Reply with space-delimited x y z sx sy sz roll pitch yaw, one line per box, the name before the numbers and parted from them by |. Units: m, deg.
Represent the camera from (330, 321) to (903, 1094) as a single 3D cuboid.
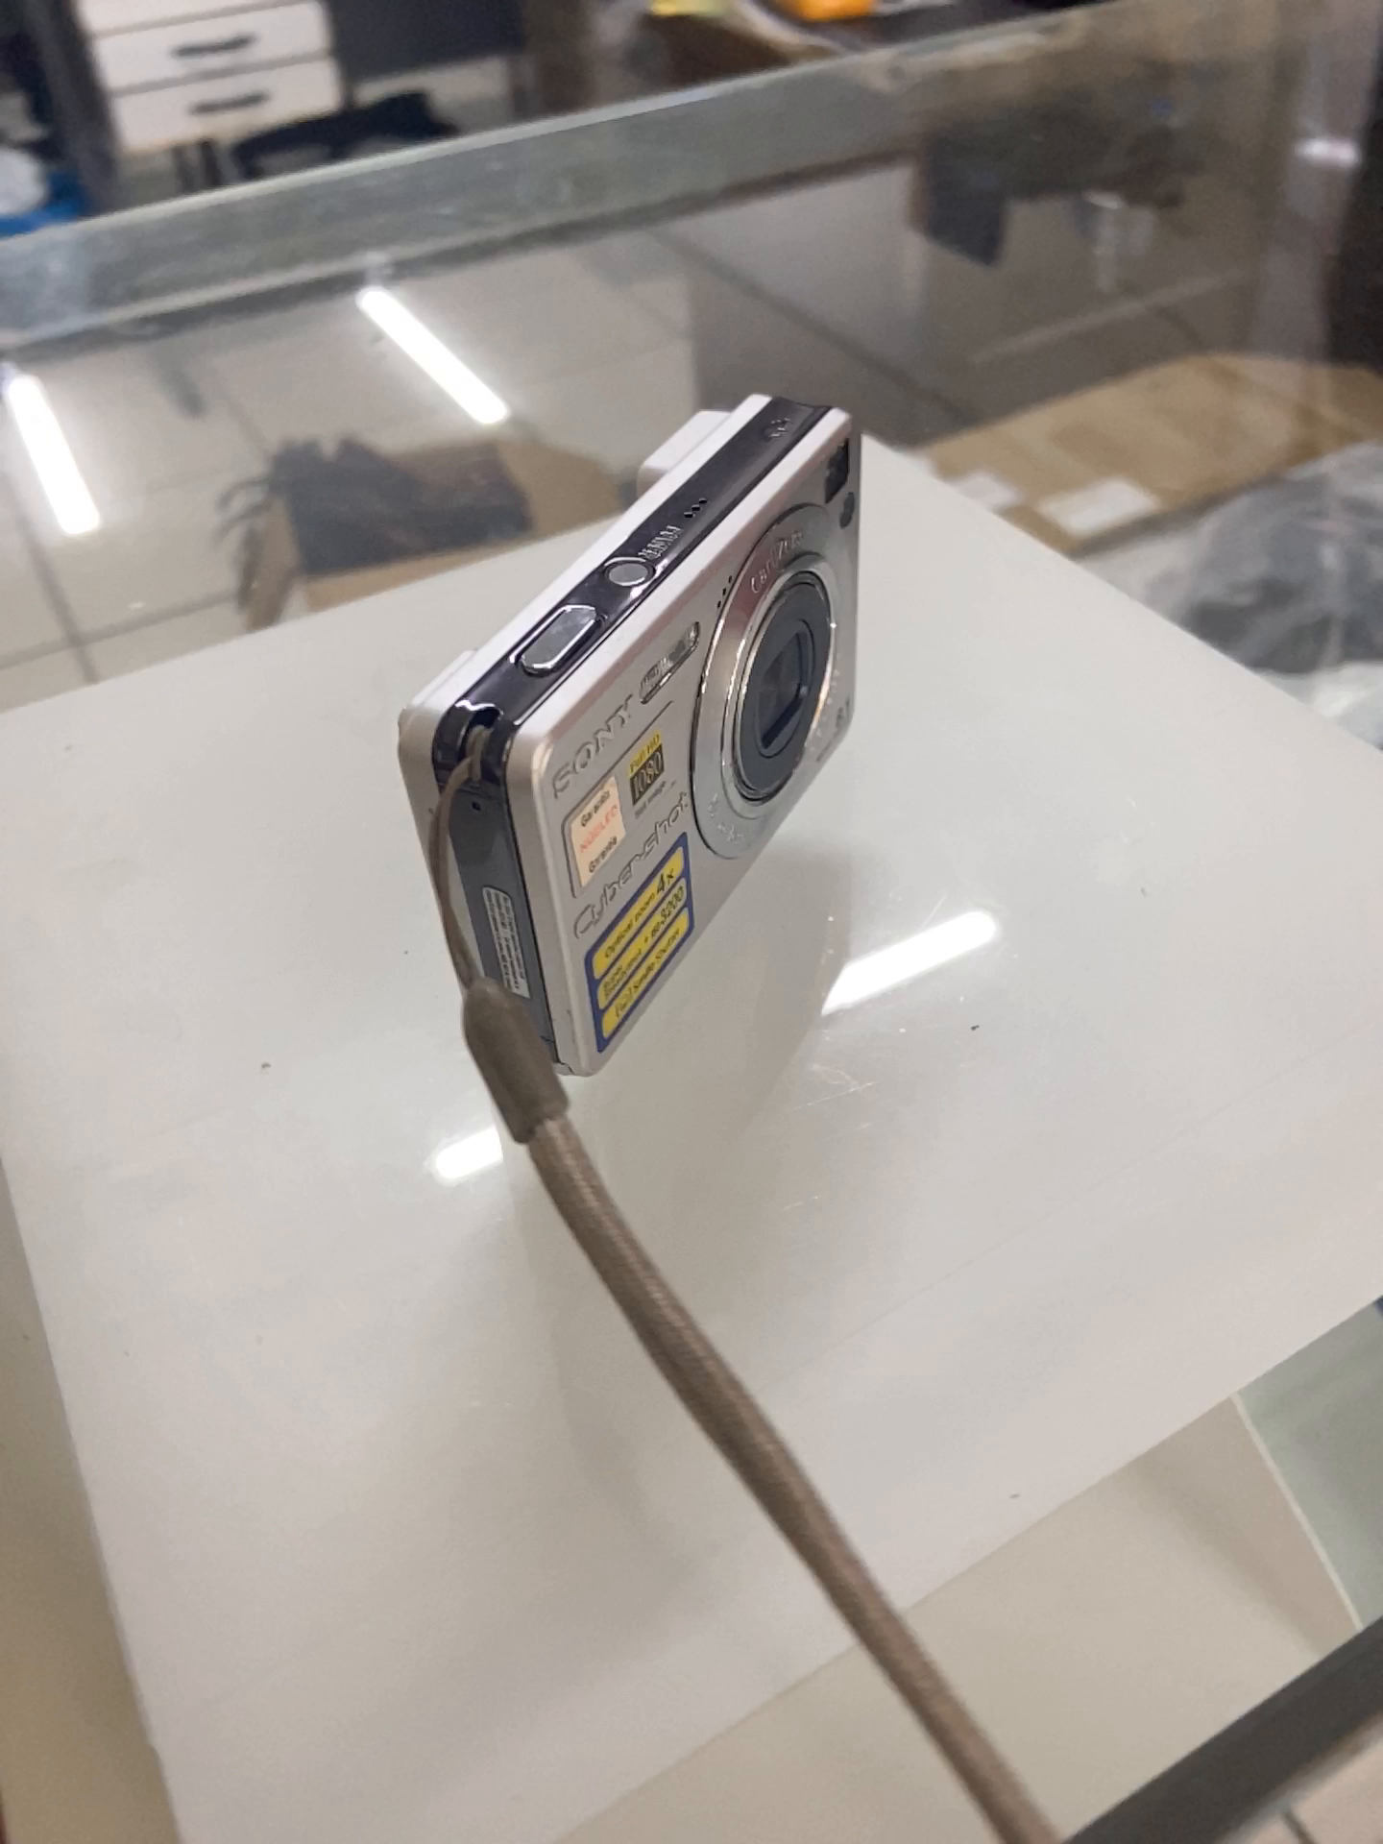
camera | -0.003 -0.033 0.197 0.030 0.060 0.090 17 48 22
